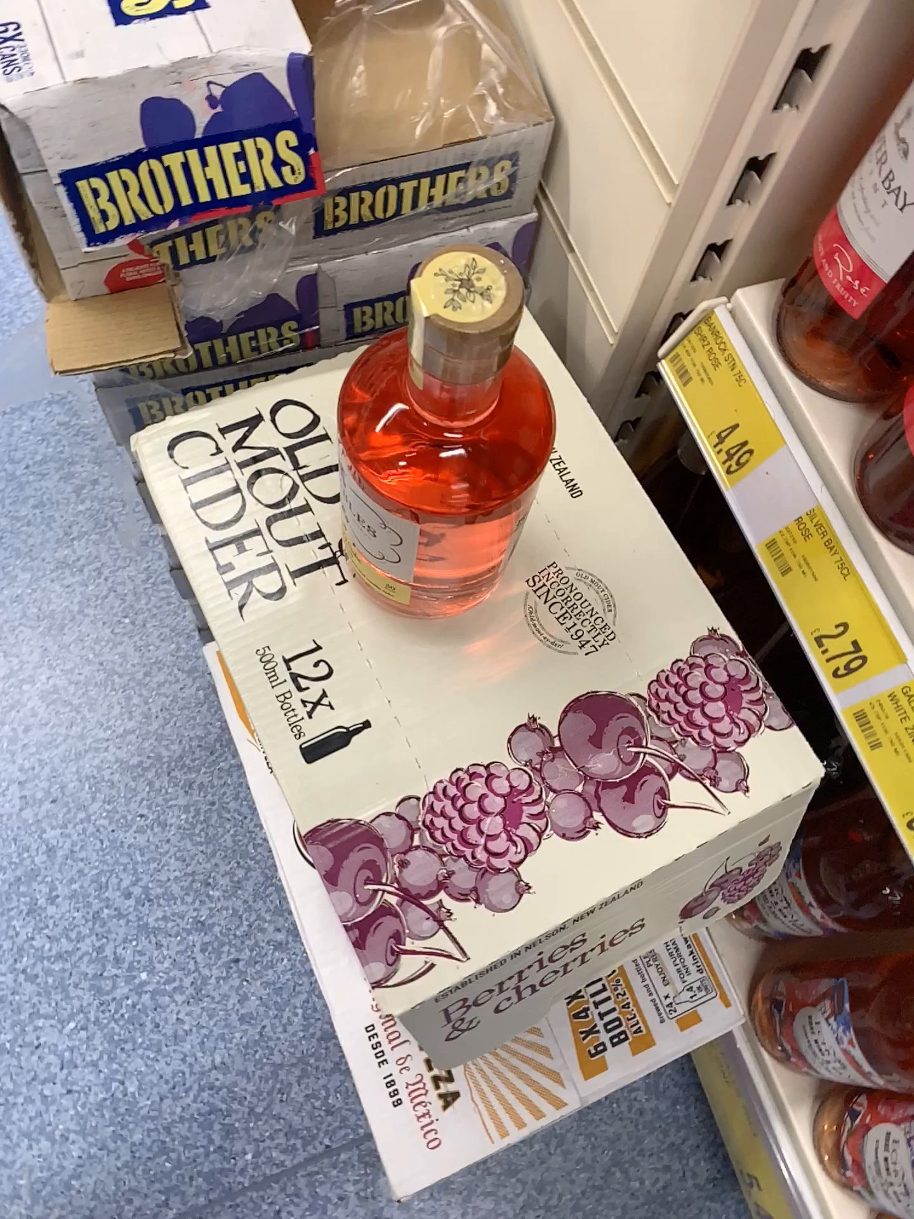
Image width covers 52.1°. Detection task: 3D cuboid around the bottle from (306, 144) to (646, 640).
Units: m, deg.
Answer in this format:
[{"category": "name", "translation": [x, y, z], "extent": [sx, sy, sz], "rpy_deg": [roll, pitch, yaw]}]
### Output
[{"category": "bottle", "translation": [-0.005, -0.063, 0.341], "extent": [0.076, 0.176, 0.077], "rpy_deg": [2, 68, -5]}]
